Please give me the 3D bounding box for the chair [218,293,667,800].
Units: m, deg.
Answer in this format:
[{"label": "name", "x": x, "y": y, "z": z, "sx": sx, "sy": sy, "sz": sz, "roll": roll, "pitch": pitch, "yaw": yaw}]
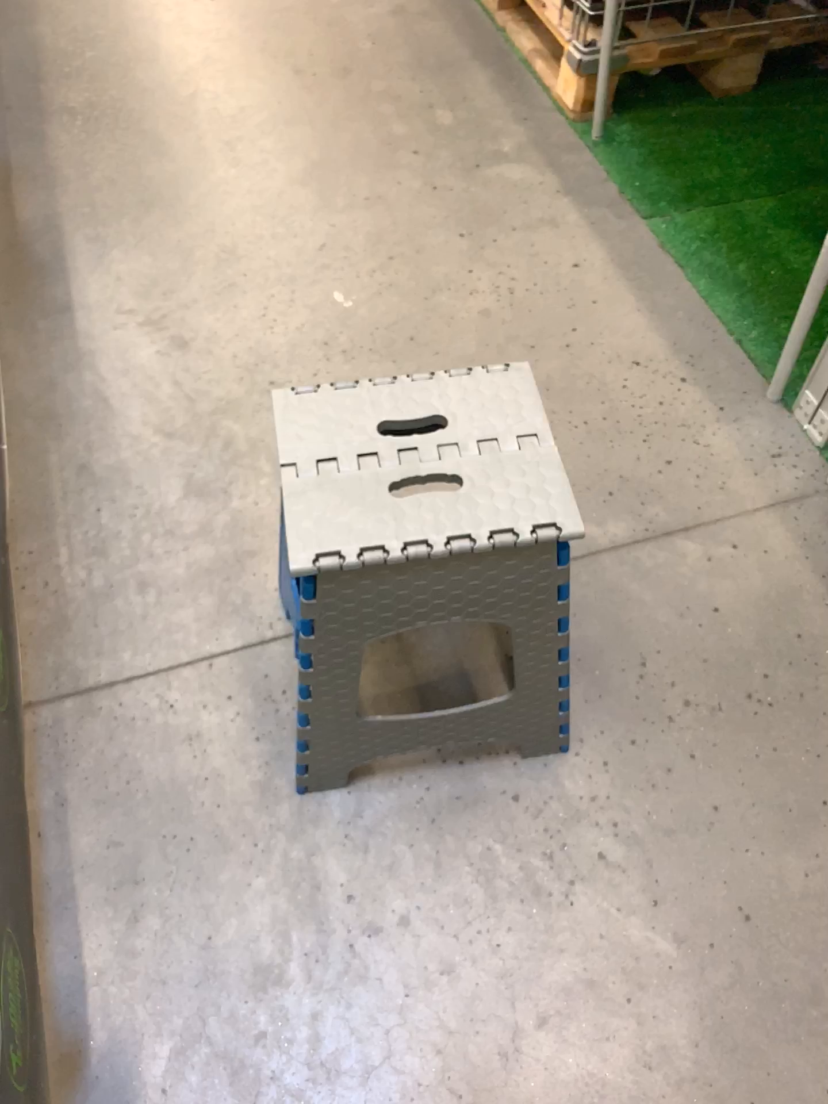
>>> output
[{"label": "chair", "x": 0.003, "y": 0.011, "z": 0.943, "sx": 0.350, "sy": 0.419, "sz": 0.341, "roll": -8, "pitch": 56, "yaw": -6}]
